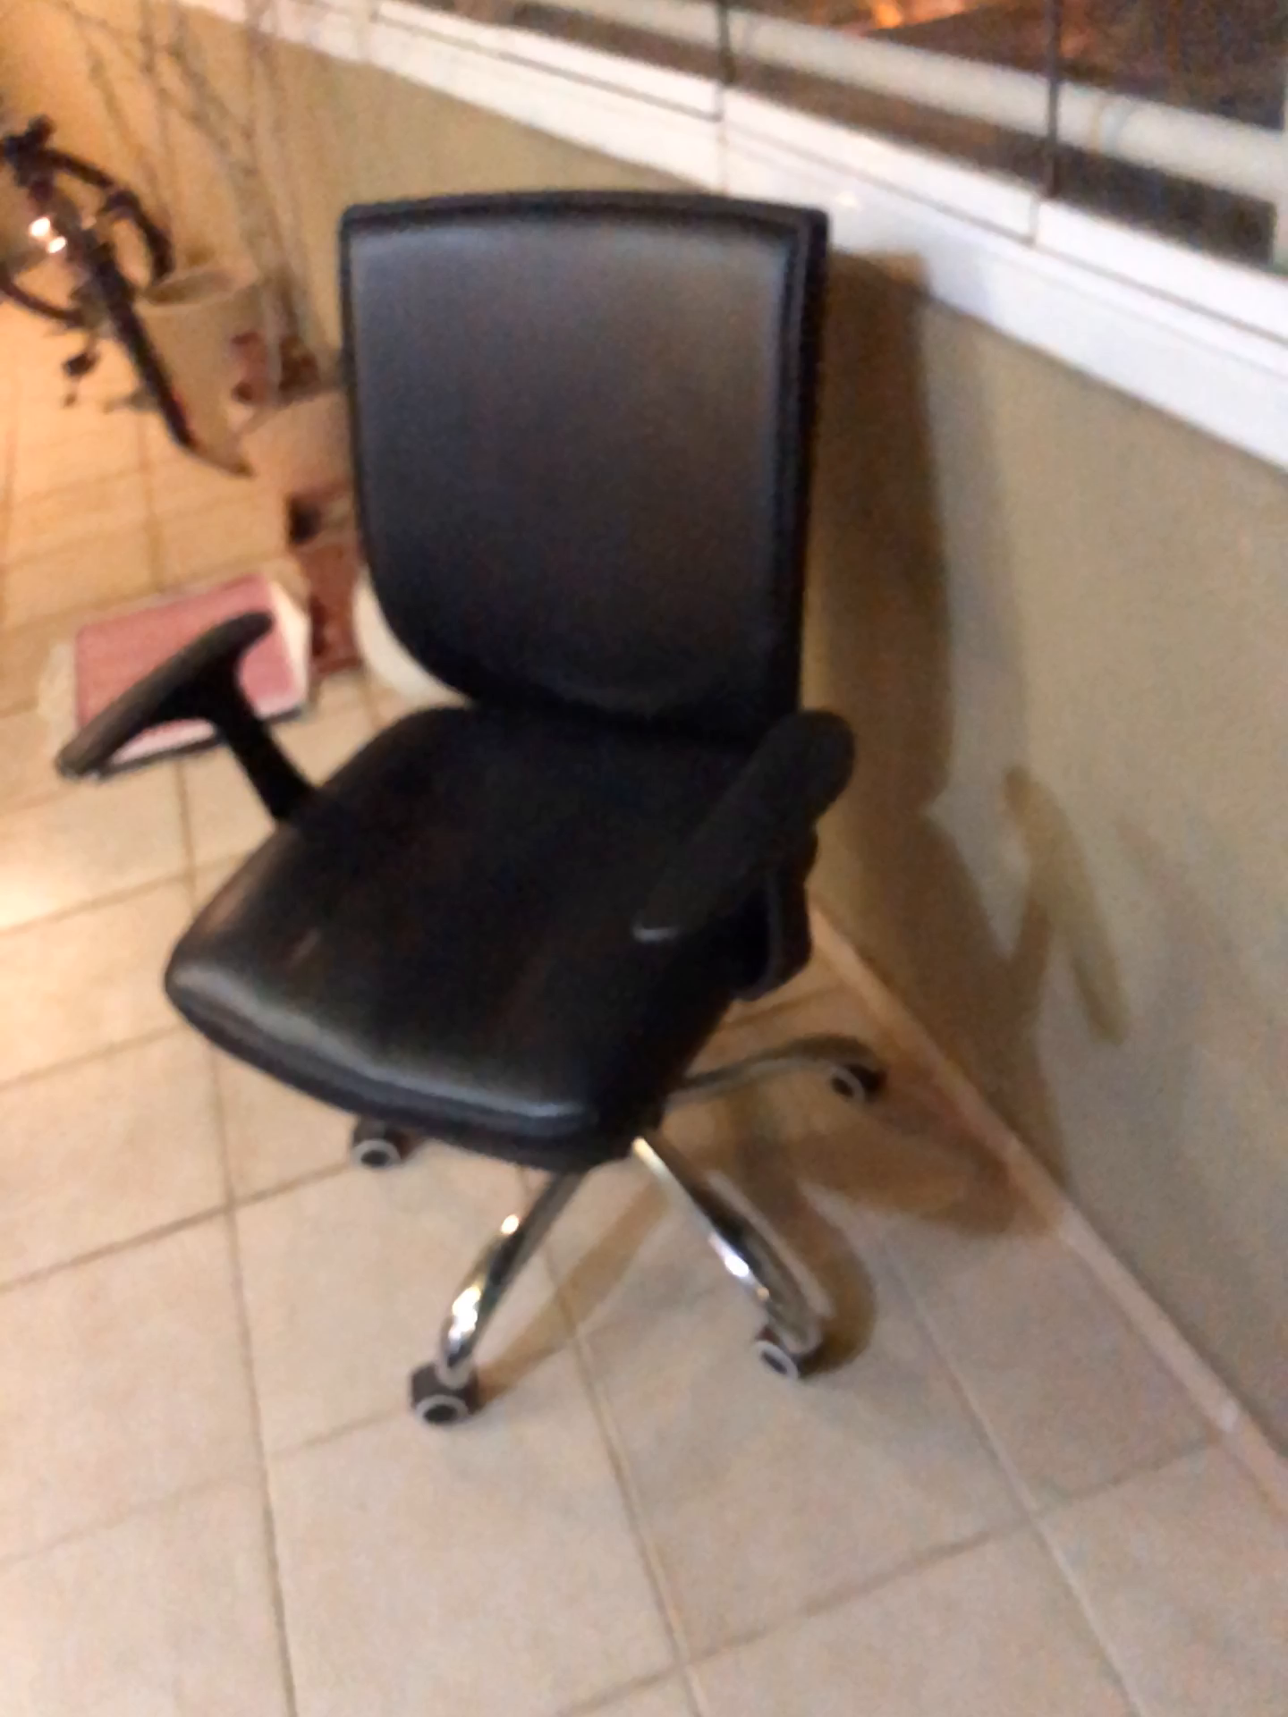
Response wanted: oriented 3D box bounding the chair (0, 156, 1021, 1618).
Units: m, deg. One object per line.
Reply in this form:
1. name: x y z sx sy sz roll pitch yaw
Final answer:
1. chair: -0.110 -0.007 1.256 0.662 0.933 0.664 15 46 29
